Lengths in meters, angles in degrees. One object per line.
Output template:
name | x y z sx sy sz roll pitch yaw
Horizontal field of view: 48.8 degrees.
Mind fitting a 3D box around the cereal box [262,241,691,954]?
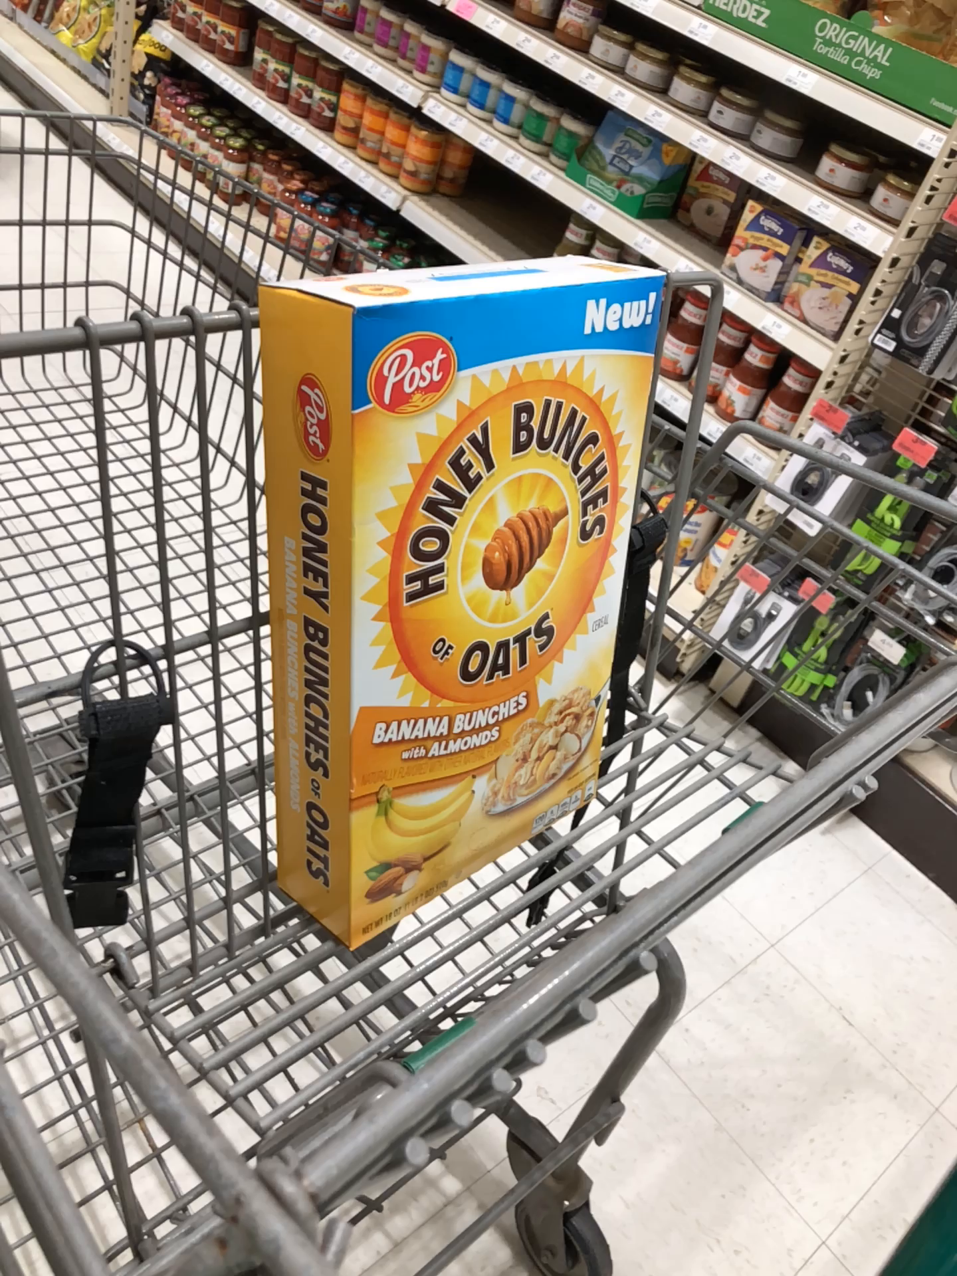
cereal box | -0.001 -0.026 0.509 0.060 0.299 0.201 25 33 36
